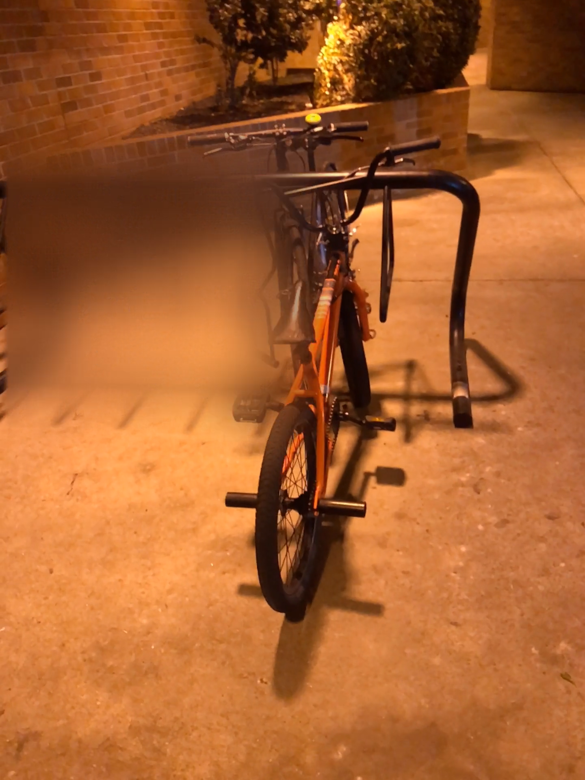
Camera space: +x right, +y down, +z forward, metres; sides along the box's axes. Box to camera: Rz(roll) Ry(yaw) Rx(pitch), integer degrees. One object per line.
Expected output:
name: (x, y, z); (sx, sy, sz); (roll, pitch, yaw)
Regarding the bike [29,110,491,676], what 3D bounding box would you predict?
bike: (0.068, -0.143, 1.760); (0.744, 0.927, 1.298); (1, 31, 11)
